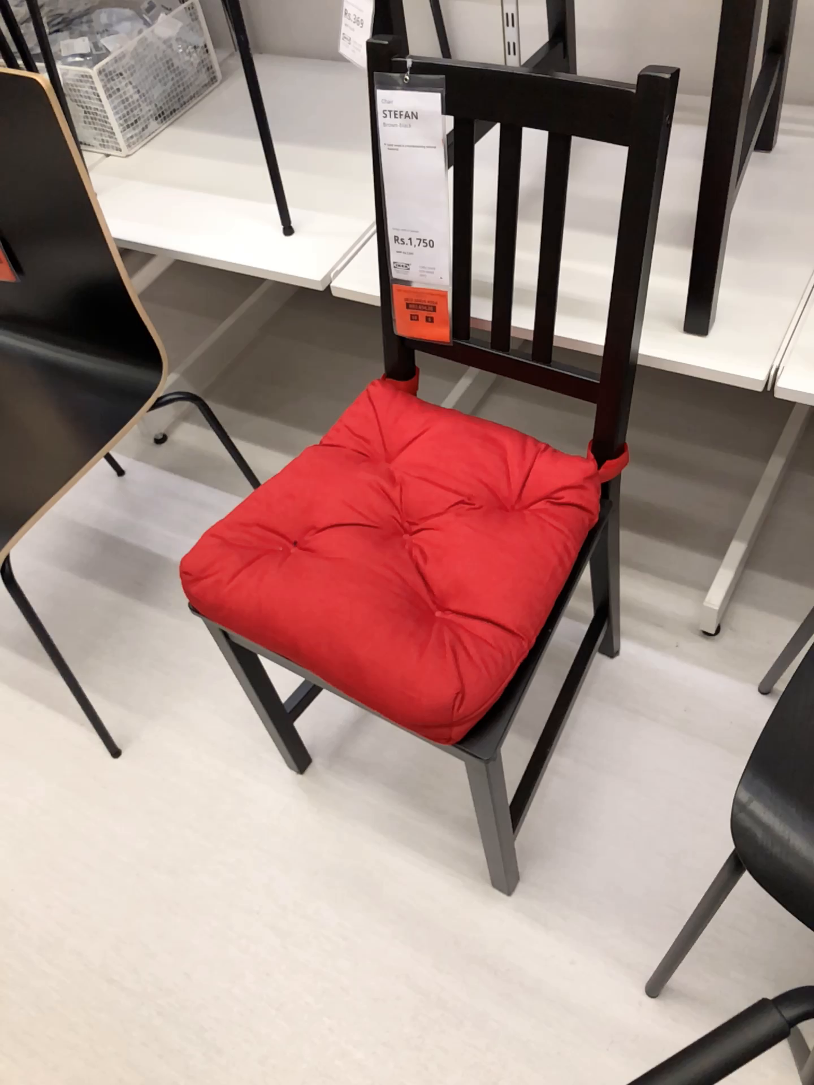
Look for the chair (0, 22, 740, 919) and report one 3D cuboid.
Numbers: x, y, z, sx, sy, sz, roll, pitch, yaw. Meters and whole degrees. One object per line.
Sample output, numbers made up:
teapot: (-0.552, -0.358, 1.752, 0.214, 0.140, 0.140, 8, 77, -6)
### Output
chair: (0.025, -0.025, 1.021, 0.431, 0.835, 0.482, 22, 59, 26)
